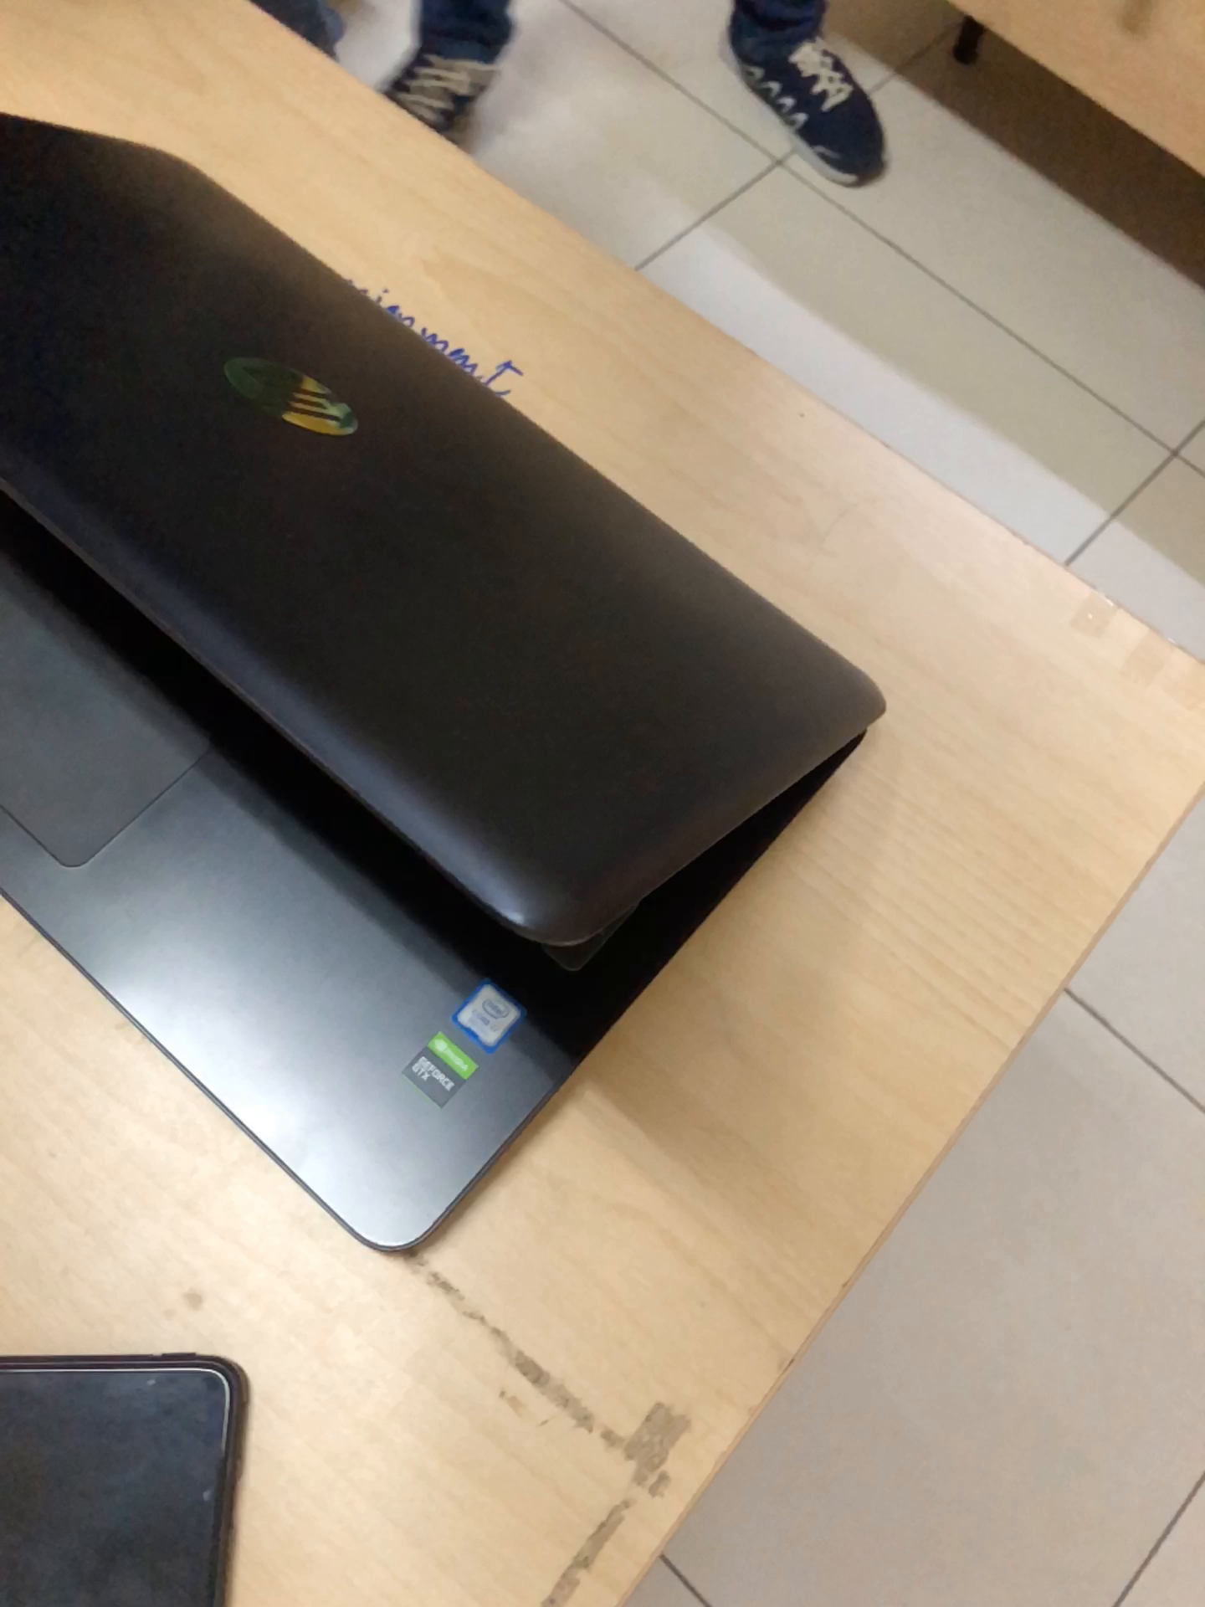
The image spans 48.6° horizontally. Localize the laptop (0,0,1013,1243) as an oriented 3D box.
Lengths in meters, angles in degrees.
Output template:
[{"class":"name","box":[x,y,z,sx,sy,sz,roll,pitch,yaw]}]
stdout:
[{"class":"laptop","box":[-0.116,-0.092,0.401,0.359,0.167,0.231,39,70,13]}]
